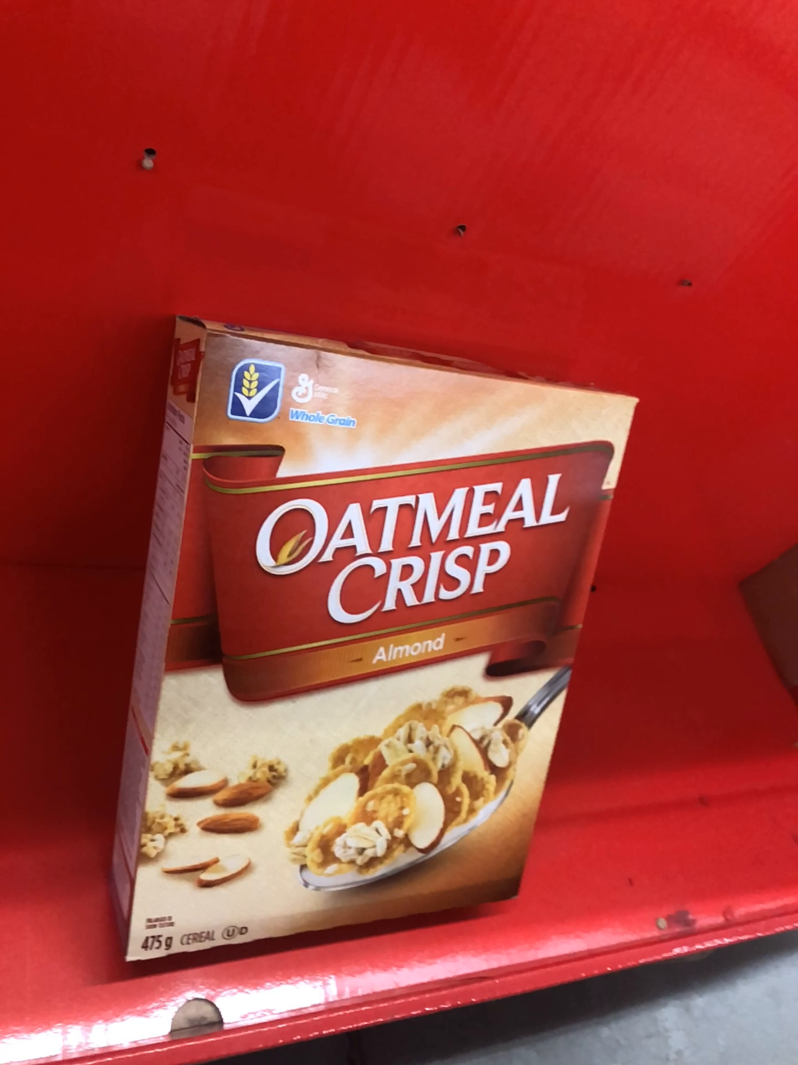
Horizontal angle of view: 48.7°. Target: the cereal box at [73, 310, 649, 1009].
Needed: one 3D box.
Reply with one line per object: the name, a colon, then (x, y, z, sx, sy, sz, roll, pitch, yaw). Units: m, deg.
cereal box: (-0.019, 0.056, 0.404, 0.210, 0.269, 0.070, 4, 14, -30)
